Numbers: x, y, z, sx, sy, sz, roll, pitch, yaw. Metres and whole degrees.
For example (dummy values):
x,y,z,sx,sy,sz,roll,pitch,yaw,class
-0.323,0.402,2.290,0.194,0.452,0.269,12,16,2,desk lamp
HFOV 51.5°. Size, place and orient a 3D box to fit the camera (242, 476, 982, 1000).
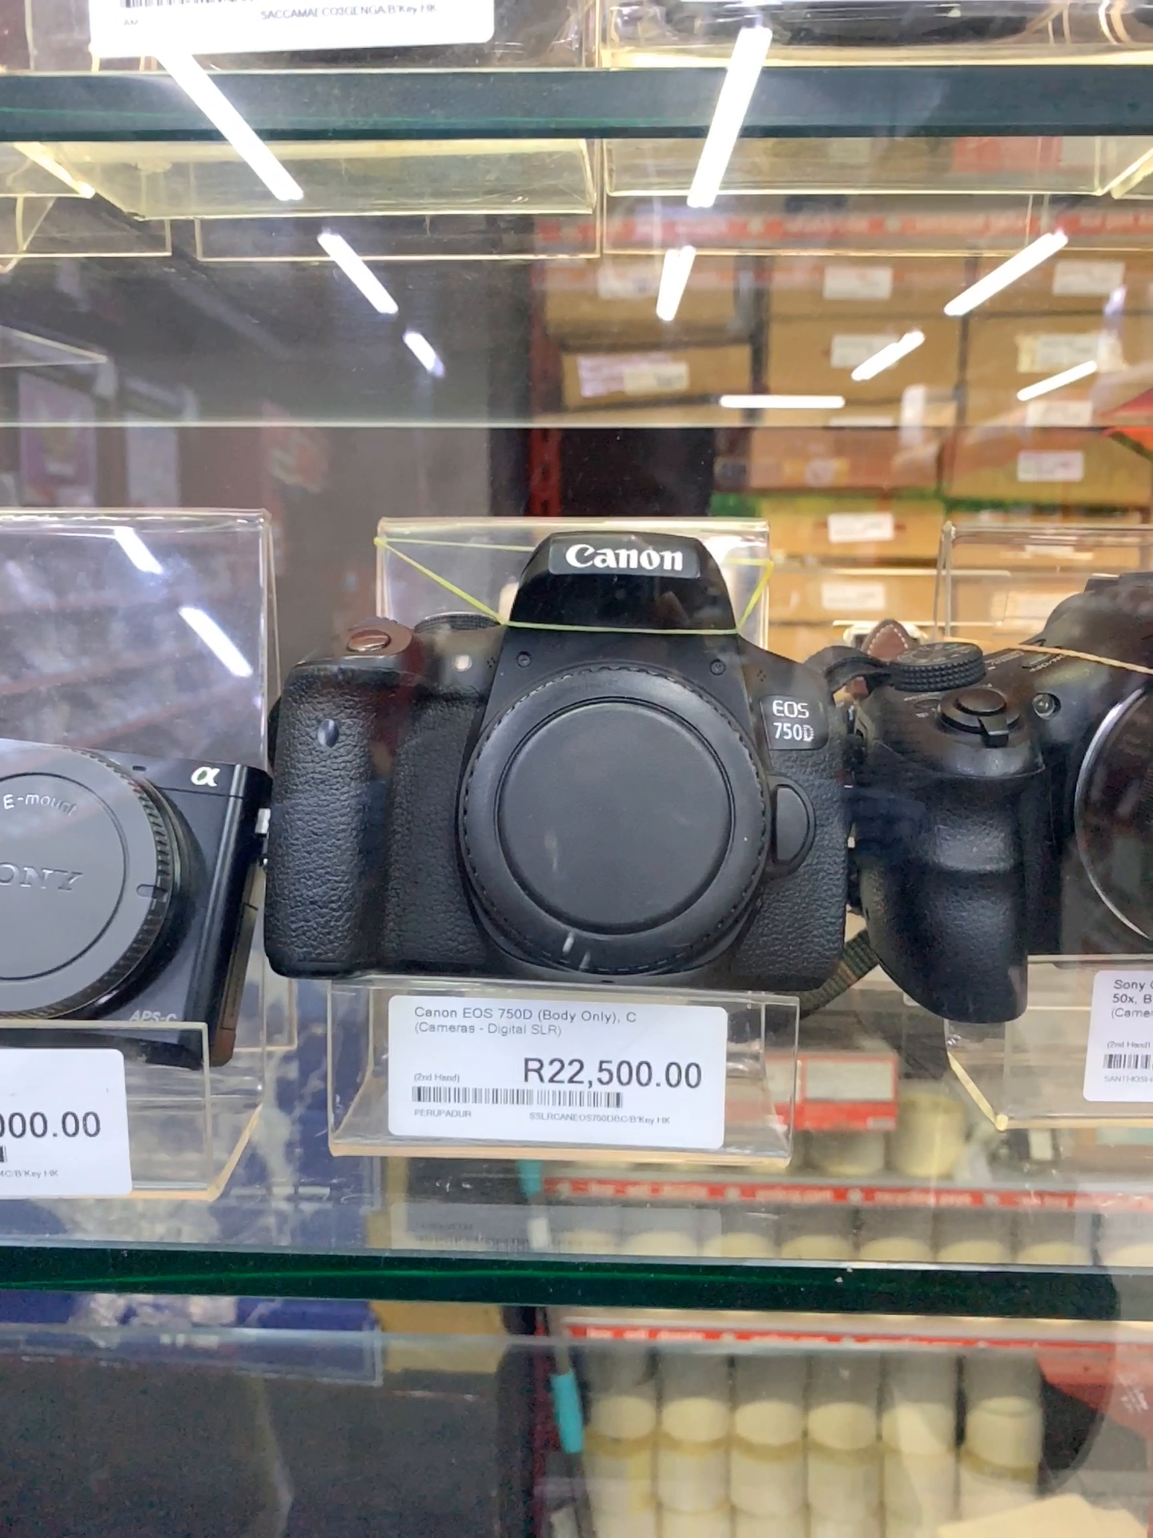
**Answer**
x,y,z,sx,sy,sz,roll,pitch,yaw,class
0.004,-0.009,0.252,0.130,0.090,0.070,3,8,-3,camera
